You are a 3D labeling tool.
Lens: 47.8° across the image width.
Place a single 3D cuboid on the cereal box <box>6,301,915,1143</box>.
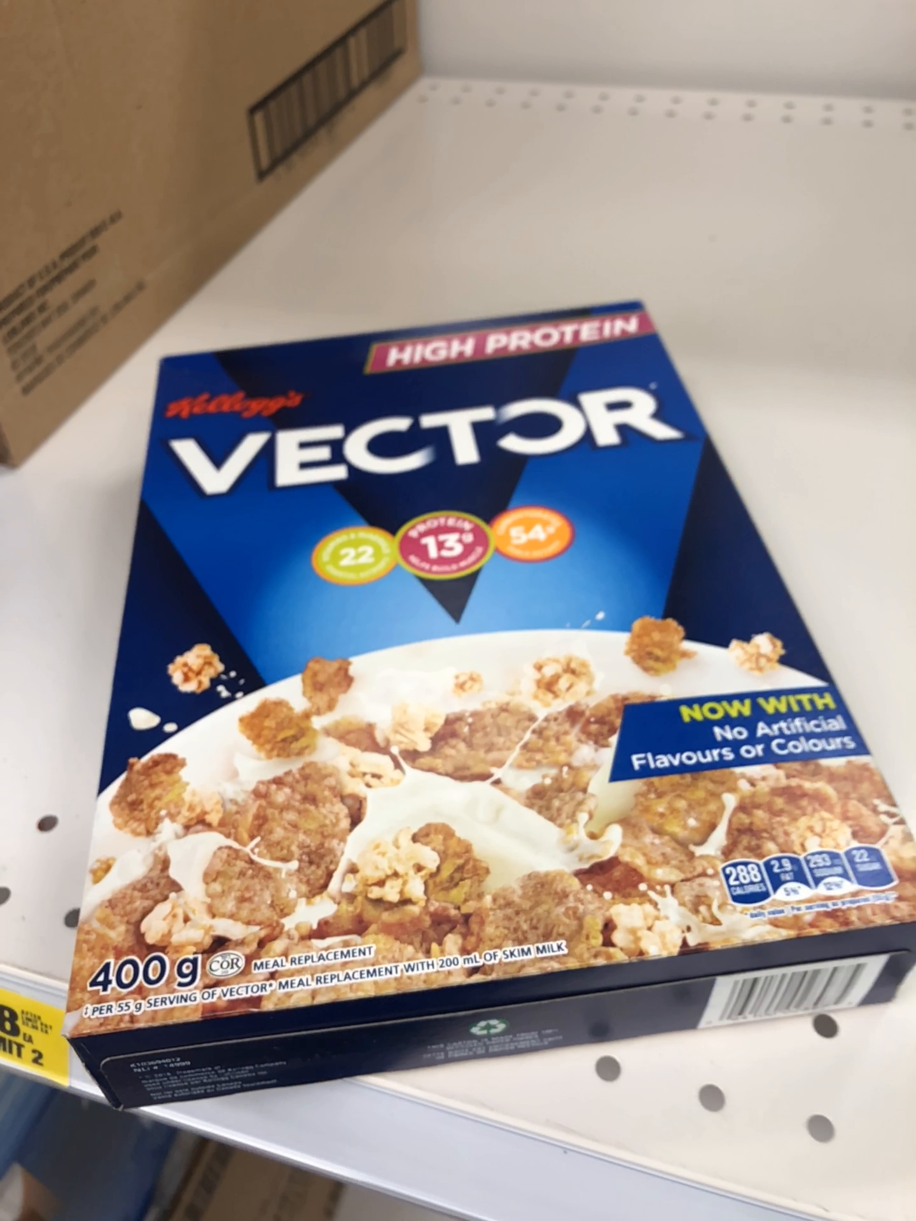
[{"bbox_3d":[-0.007,-0.003,0.340,0.210,0.050,0.291,-7,43,-4],"label":"cereal box"}]
